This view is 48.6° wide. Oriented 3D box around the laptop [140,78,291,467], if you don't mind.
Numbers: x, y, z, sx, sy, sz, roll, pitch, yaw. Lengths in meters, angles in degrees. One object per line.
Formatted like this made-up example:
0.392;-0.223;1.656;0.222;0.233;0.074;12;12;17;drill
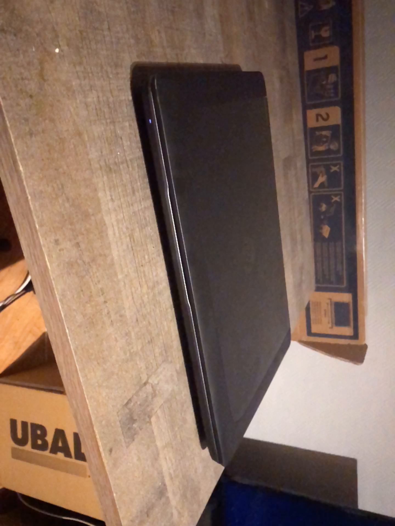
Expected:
0.047;-0.007;0.485;0.242;0.017;0.365;-40;126;-55;laptop
